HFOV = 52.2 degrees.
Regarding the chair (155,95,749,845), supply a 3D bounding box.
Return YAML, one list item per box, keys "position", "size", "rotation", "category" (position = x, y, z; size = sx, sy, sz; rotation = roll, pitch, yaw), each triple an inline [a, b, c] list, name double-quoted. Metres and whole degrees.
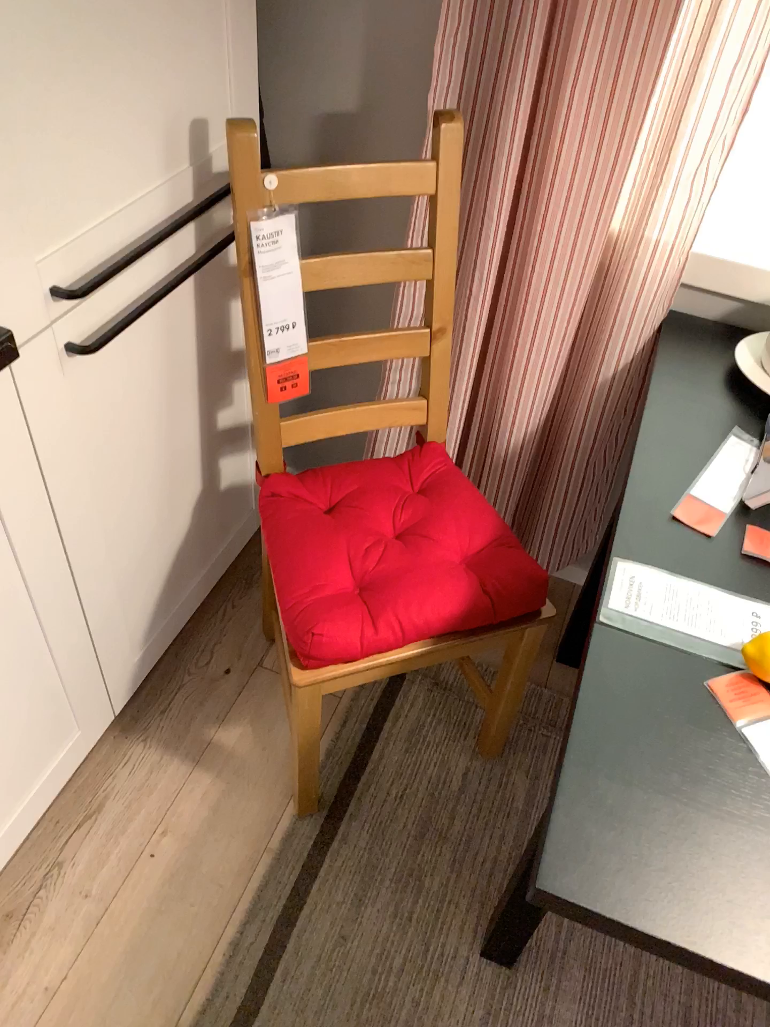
- position: [-0.003, -0.025, 1.285]
  size: [0.501, 1.015, 0.582]
  rotation: [-13, 49, -19]
  category: "chair"
